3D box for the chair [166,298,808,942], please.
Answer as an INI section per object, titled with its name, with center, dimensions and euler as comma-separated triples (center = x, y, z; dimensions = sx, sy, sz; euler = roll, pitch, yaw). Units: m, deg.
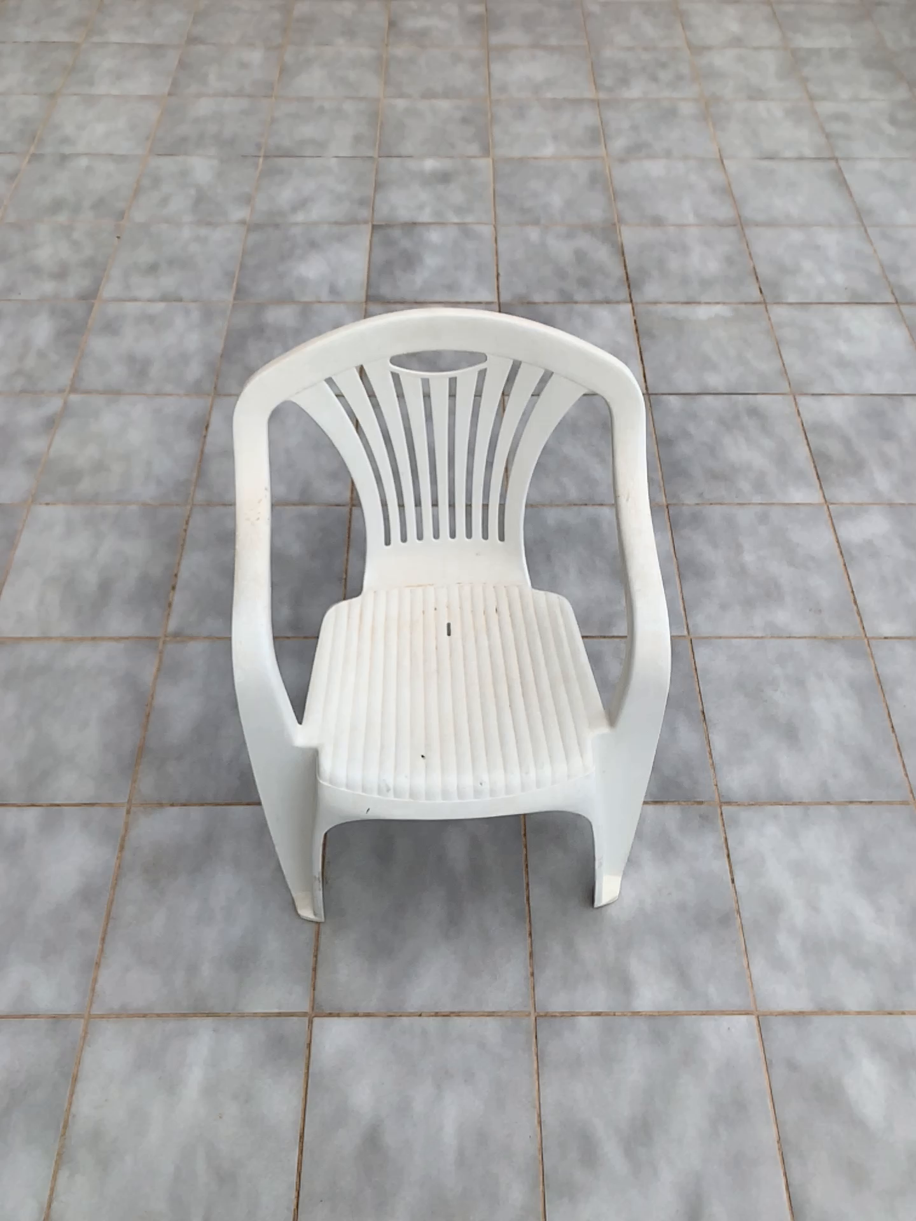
[chair]
center = 0.005, 0.045, 1.263
dimensions = 0.570, 0.667, 0.562
euler = -3, 55, -3
